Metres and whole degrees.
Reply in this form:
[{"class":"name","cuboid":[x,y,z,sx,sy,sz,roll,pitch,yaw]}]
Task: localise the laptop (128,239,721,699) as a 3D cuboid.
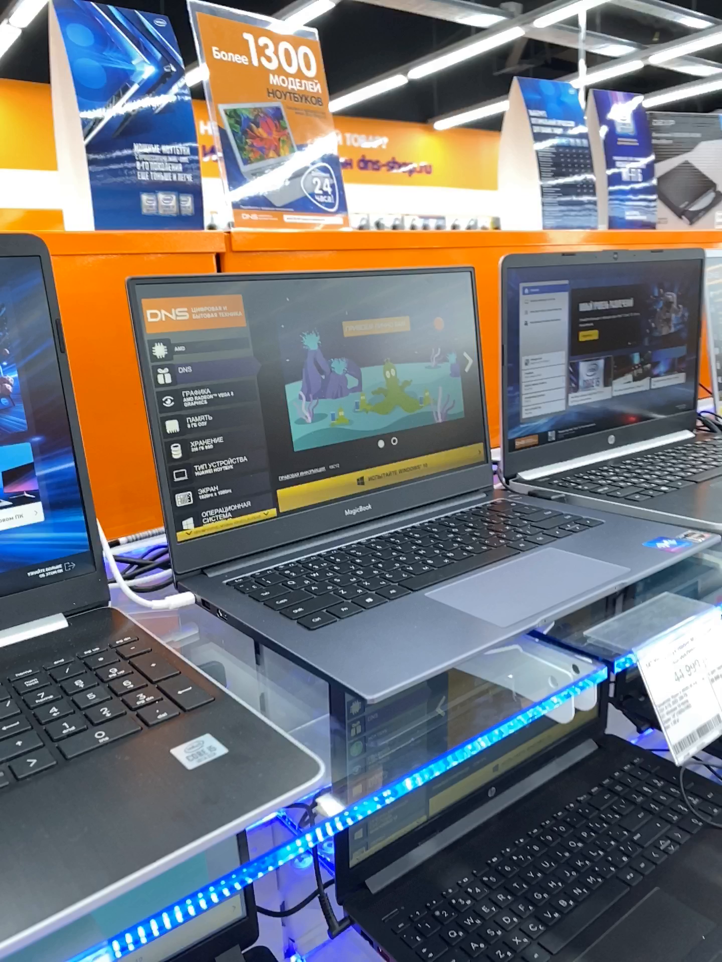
[{"class":"laptop","cuboid":[0.053,-0.046,0.508,0.323,0.203,0.238,-13,16,-36]}]
